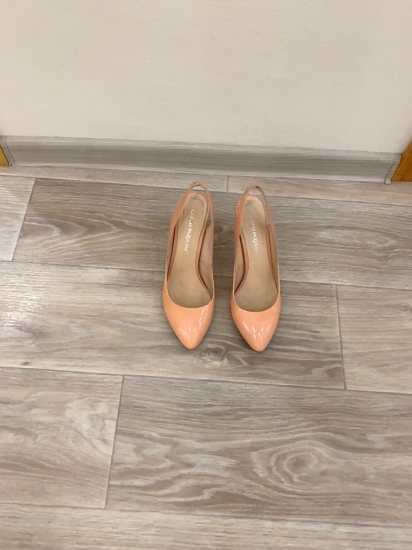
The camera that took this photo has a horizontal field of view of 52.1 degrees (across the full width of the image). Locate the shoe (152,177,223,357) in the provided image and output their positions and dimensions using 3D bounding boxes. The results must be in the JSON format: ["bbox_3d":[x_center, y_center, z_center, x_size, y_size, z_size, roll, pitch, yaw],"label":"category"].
[{"bbox_3d":[-0.024,-0.012,0.638,0.090,0.120,0.241,2,64,-2],"label":"shoe"}]

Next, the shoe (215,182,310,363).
[{"bbox_3d":[0.074,-0.004,0.634,0.090,0.120,0.241,-3,64,-5],"label":"shoe"}]
